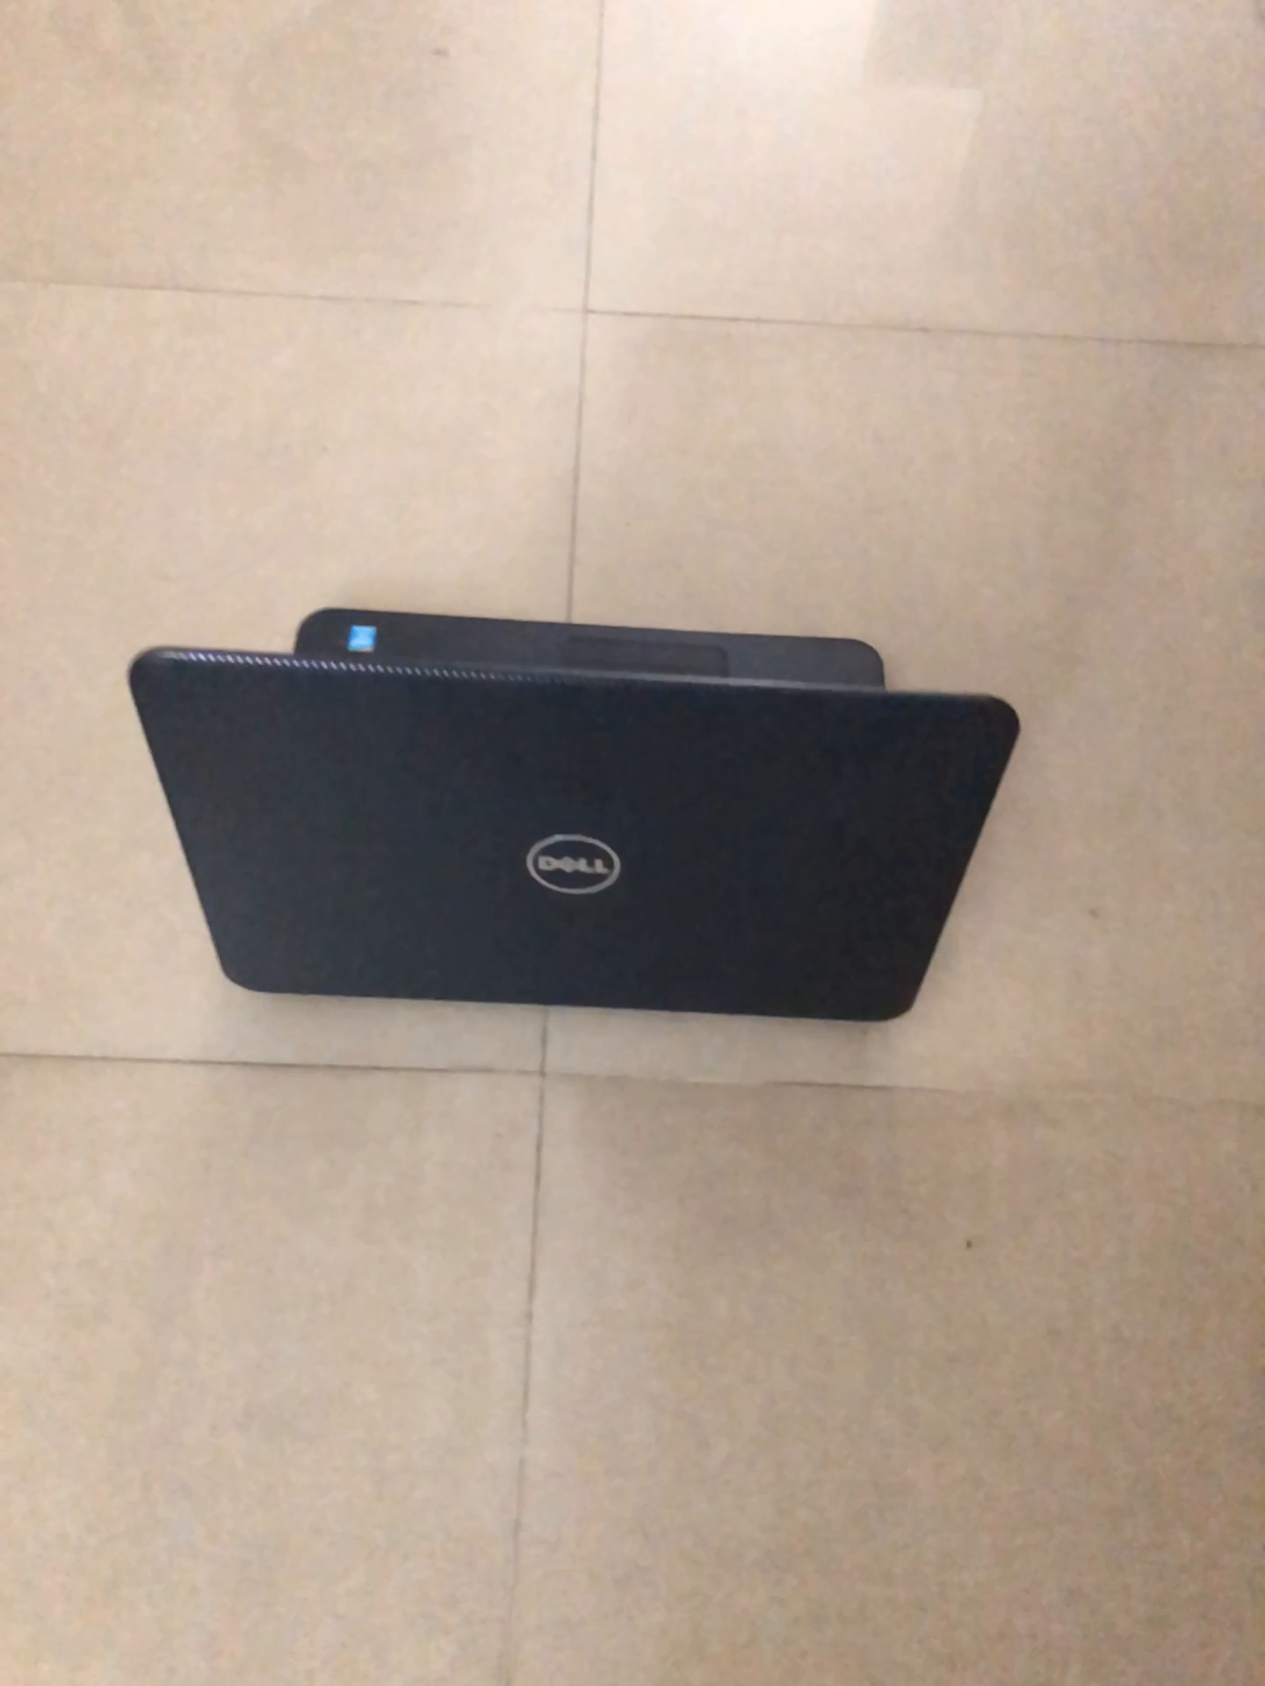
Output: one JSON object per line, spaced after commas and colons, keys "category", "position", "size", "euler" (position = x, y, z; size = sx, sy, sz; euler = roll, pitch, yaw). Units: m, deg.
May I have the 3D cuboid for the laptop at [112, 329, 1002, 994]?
{"category": "laptop", "position": [-0.029, -0.085, 0.716], "size": [0.351, 0.227, 0.248], "euler": [3, 59, -1]}
